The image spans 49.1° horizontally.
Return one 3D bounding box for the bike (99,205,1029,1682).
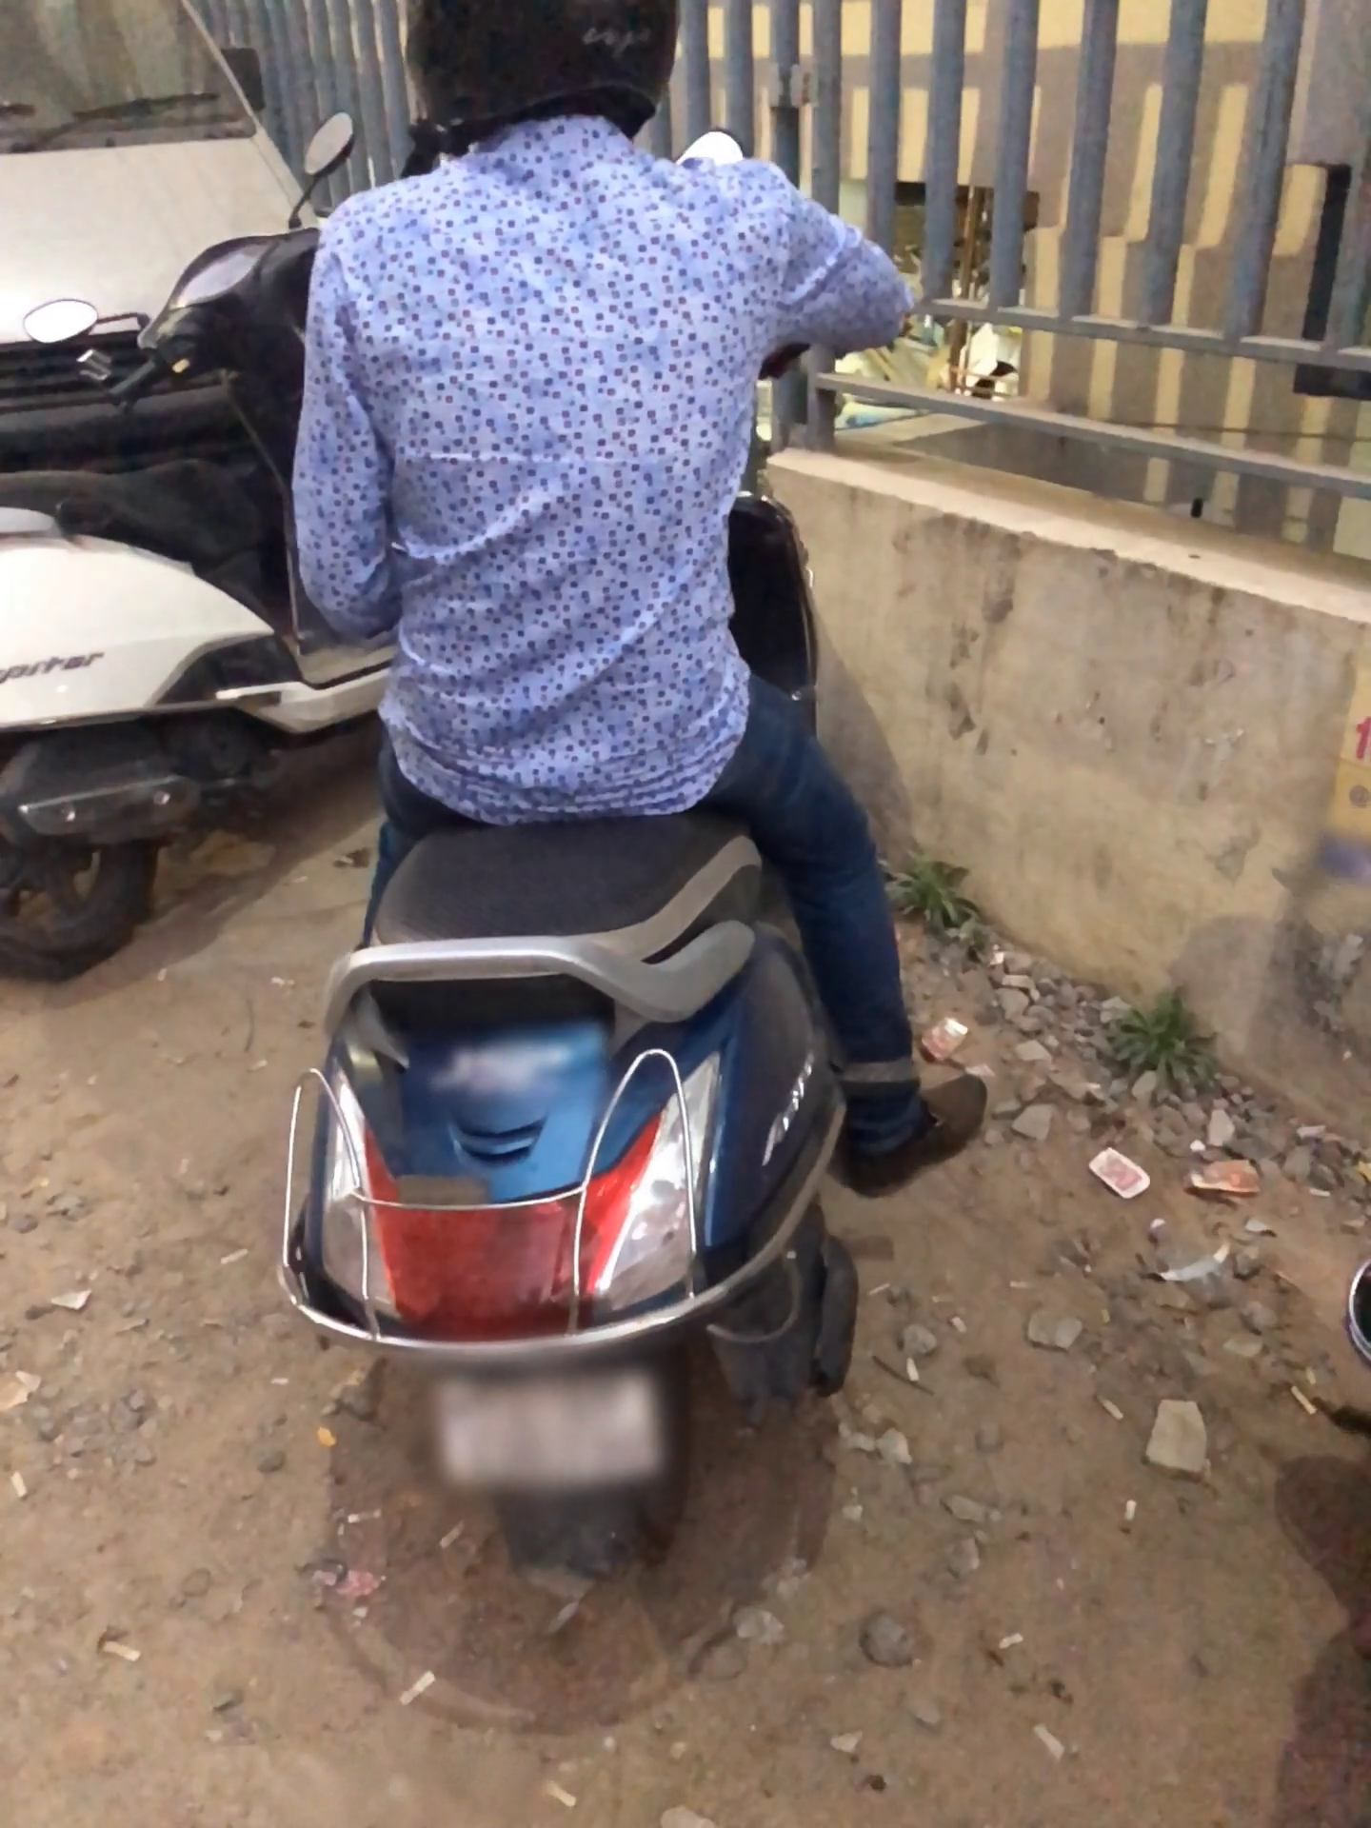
[{"bbox_3d":[-0.124,-0.128,1.874,0.616,1.130,1.478,-3,32,-2],"label":"bike"}]
